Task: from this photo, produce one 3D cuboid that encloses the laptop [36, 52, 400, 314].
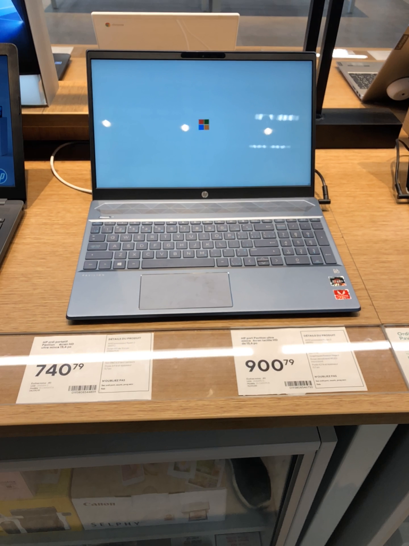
[{"bbox_3d":[0.003,-0.143,0.611,0.338,0.185,0.357,-1,42,-4],"label":"laptop"}]
